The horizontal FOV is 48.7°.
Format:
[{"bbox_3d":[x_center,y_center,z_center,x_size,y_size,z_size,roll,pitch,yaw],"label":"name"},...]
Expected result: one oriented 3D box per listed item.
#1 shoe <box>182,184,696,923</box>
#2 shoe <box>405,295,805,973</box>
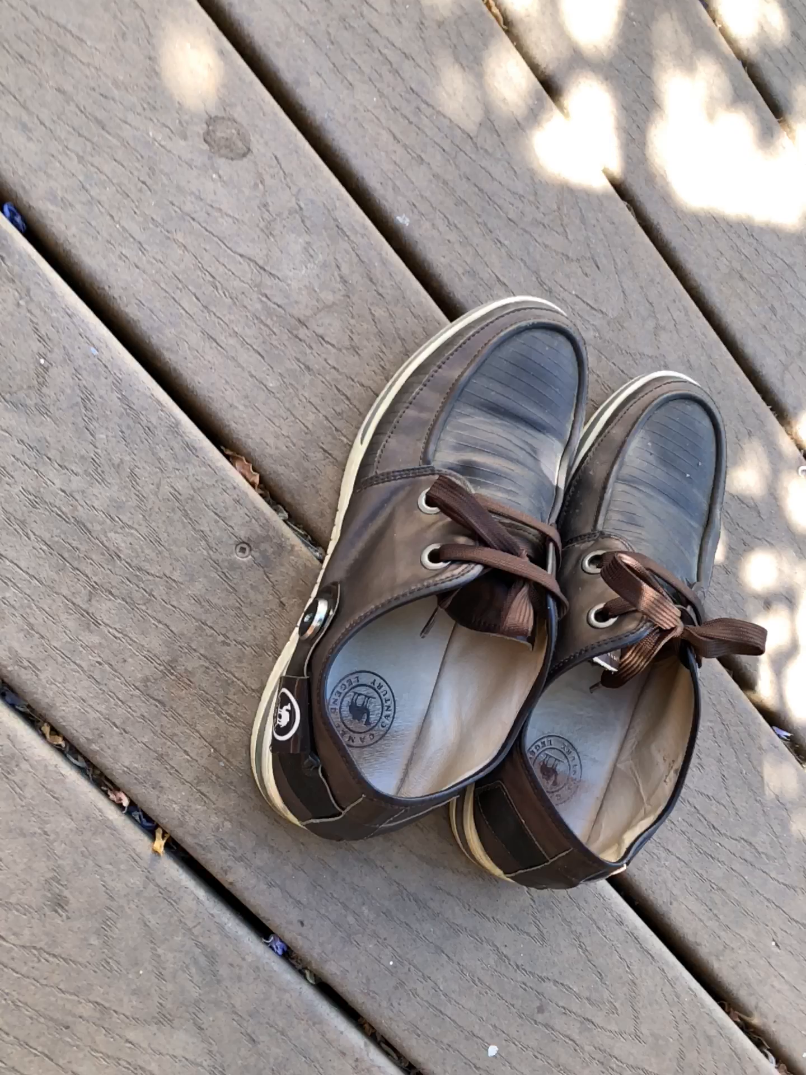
[{"bbox_3d":[0.017,0.004,0.420,0.107,0.115,0.287,27,76,-20],"label":"shoe"},{"bbox_3d":[0.119,0.042,0.454,0.107,0.105,0.289,27,76,-20],"label":"shoe"}]
